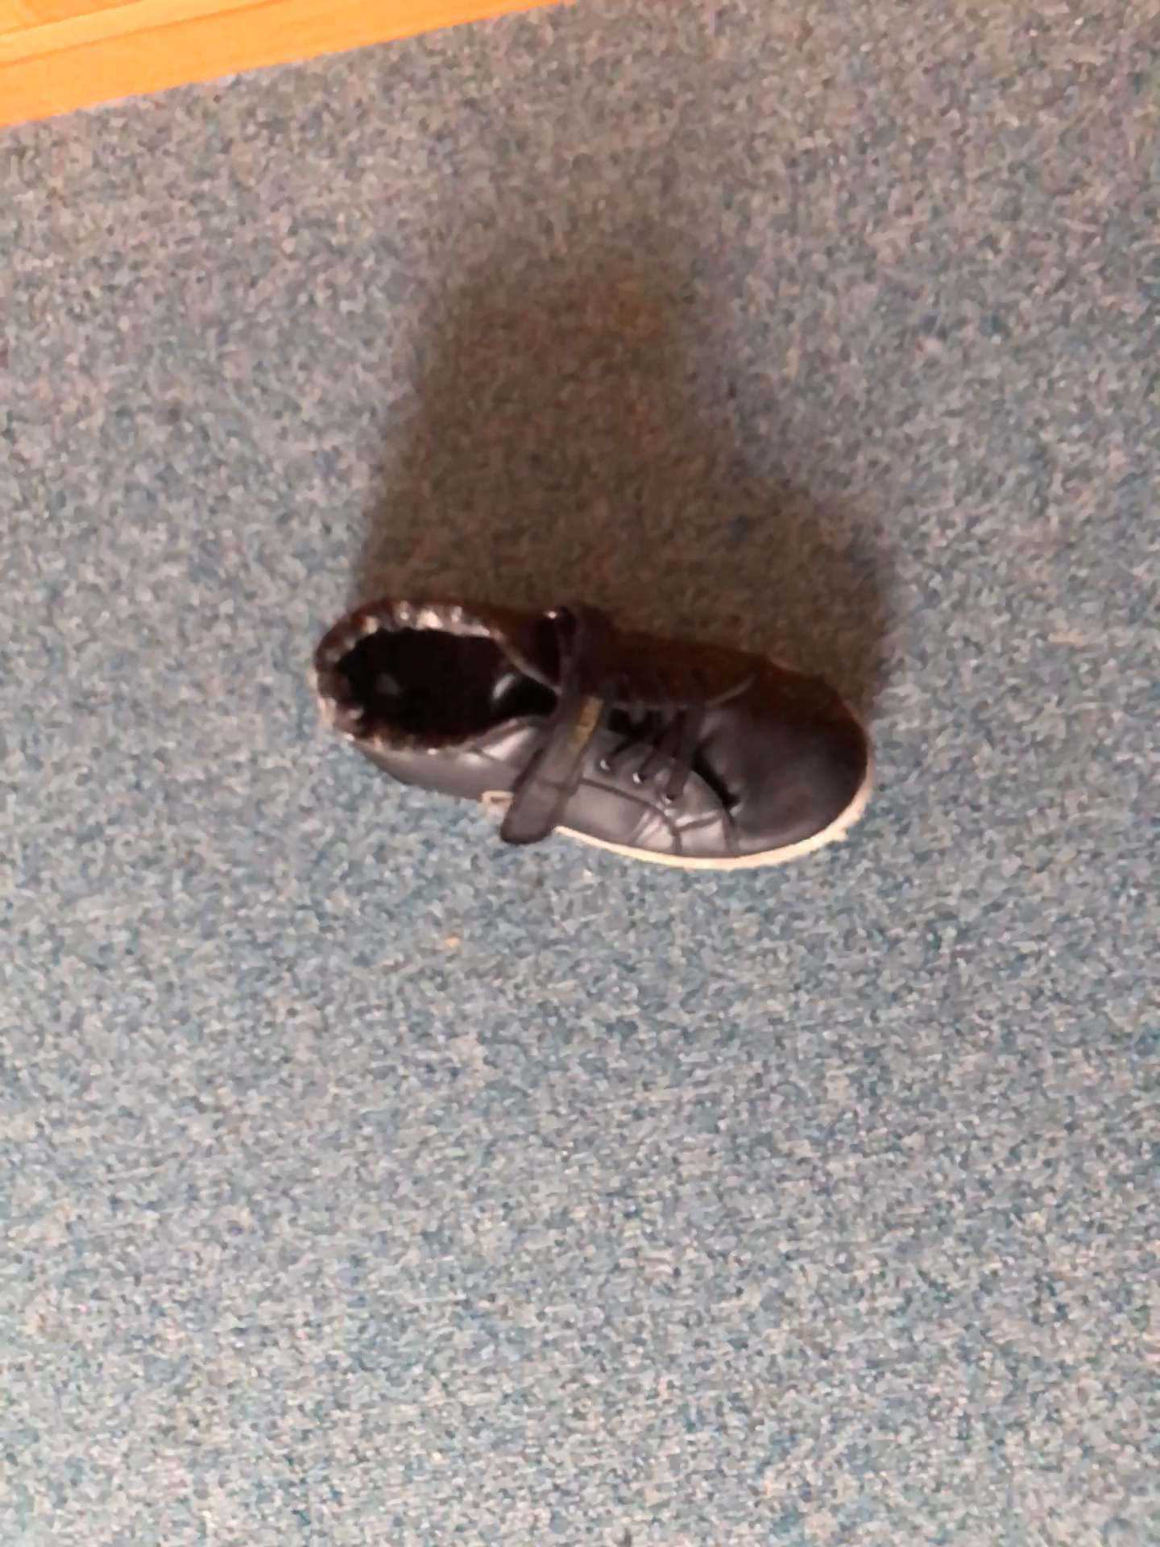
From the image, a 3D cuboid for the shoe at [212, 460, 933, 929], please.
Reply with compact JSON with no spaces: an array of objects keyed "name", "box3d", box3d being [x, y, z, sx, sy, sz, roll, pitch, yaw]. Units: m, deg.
[{"name":"shoe","box3d":[-0.001,-0.027,0.490,0.230,0.090,0.110,15,87,6]}]
